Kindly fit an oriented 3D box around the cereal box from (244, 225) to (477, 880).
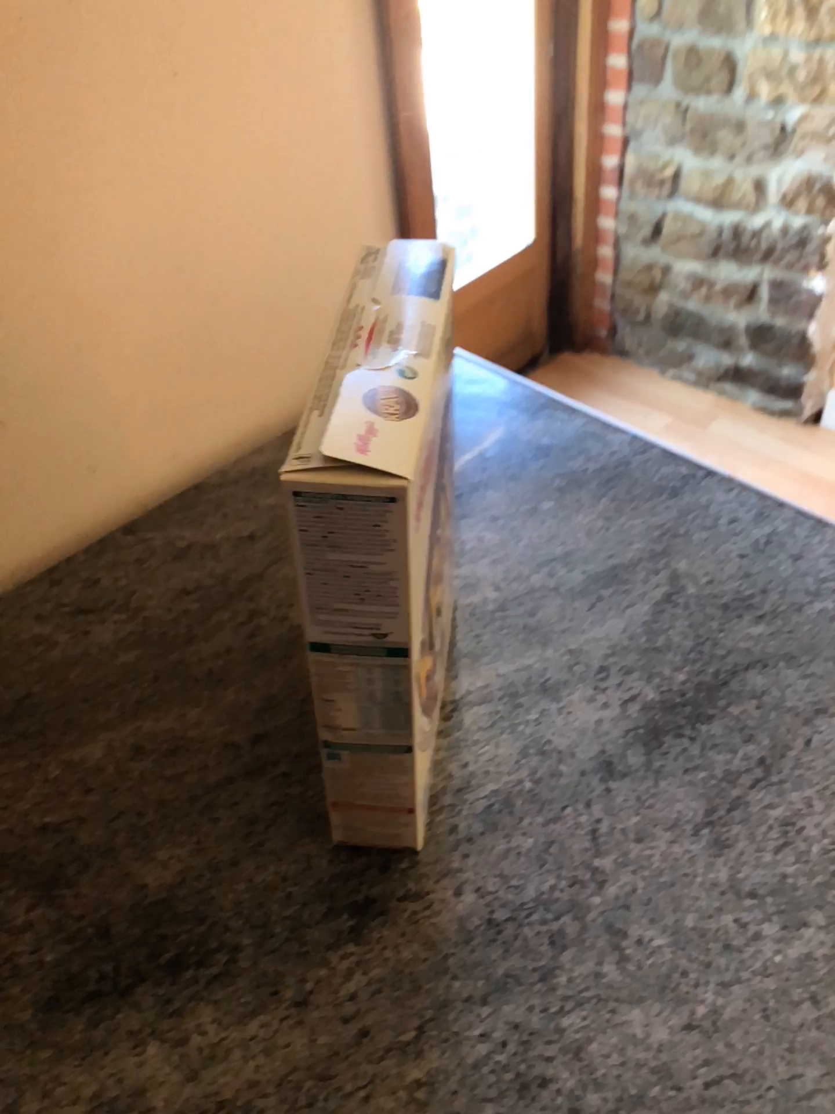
[{"bbox_3d":[-0.016,-0.003,0.465,0.070,0.248,0.211,4,41,3],"label":"cereal box"}]
